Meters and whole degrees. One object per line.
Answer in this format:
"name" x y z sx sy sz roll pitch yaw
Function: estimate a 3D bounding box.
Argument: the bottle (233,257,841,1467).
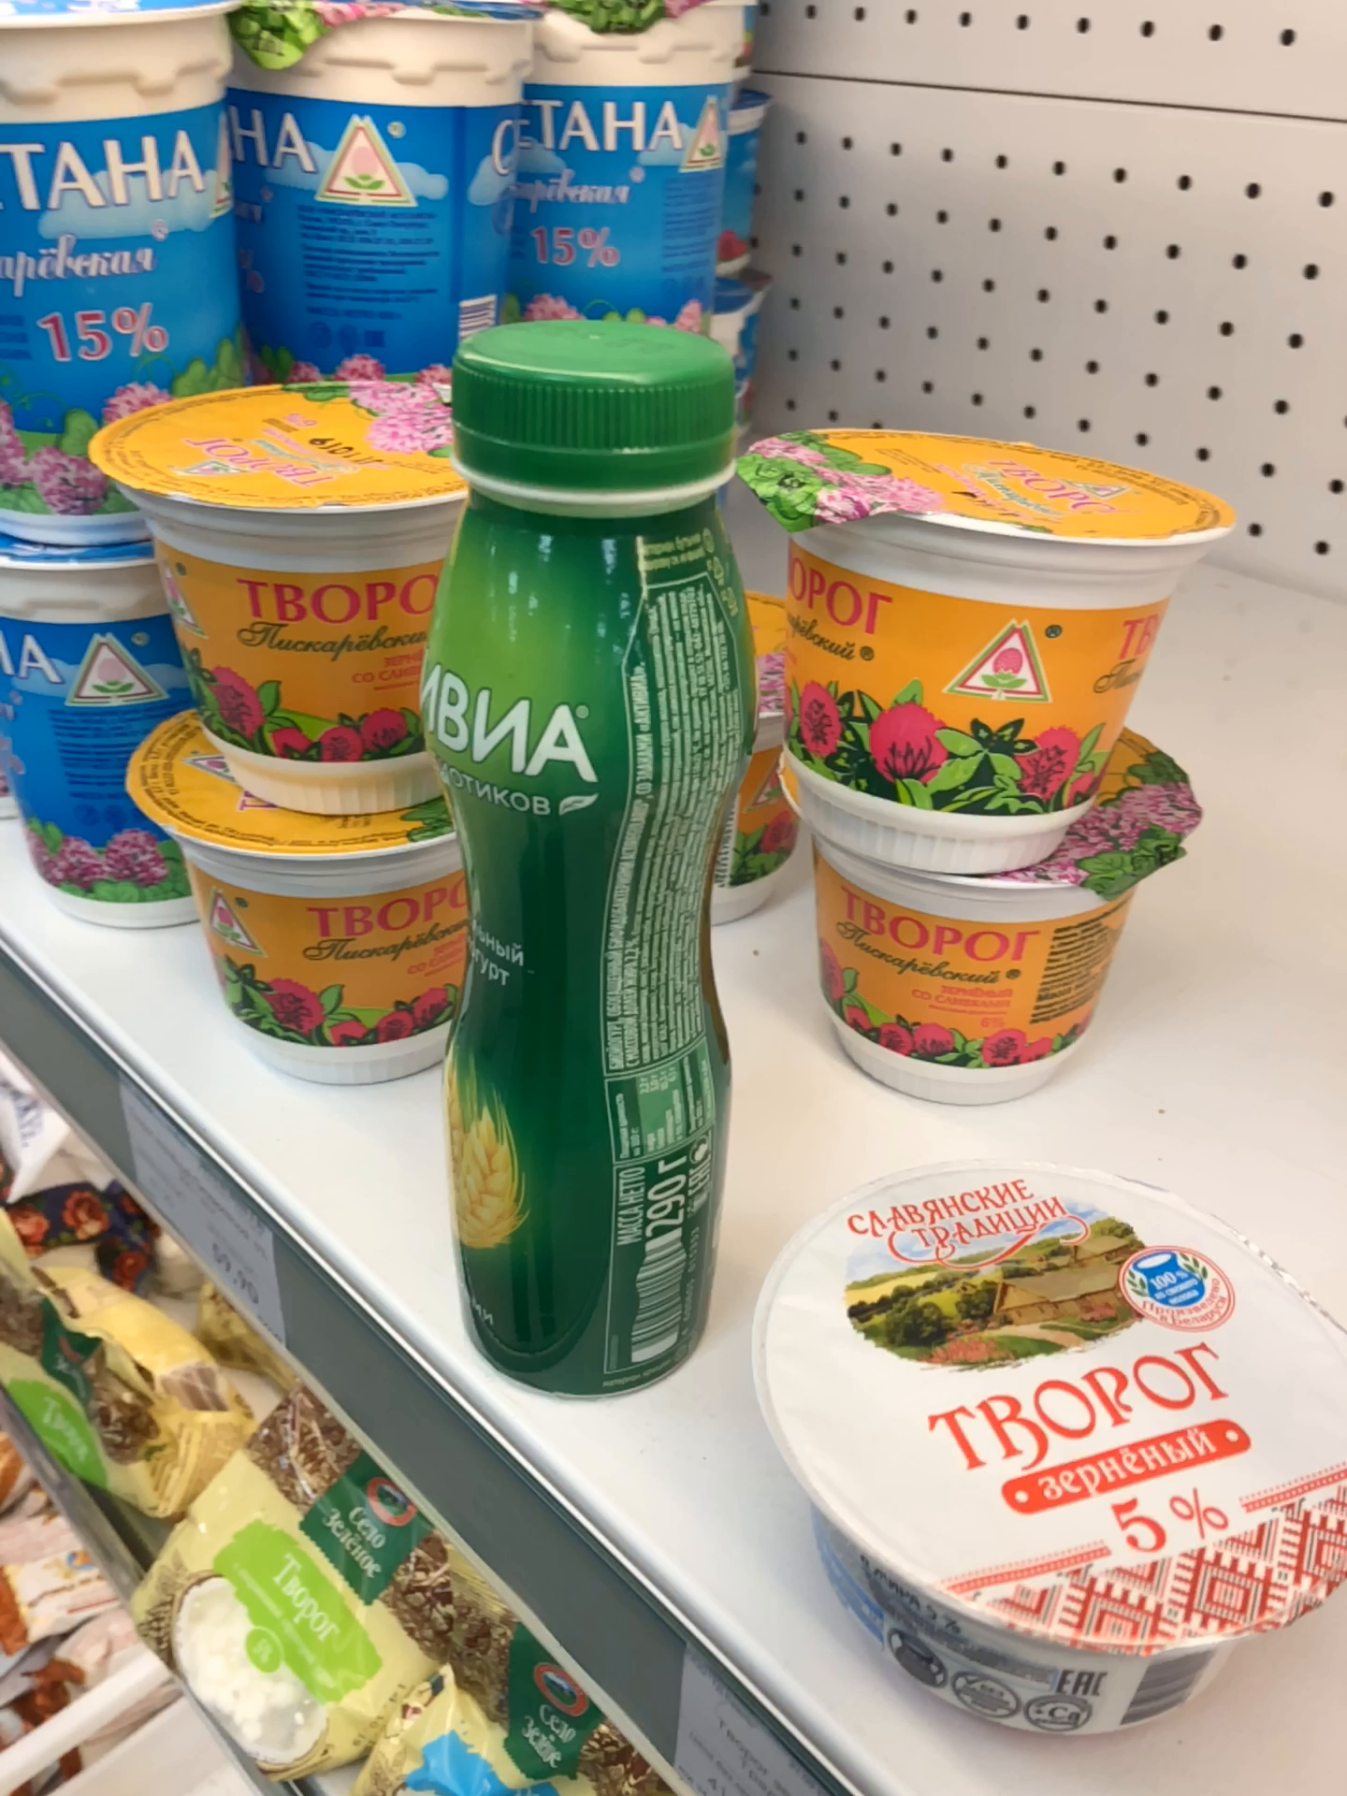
"bottle" -0.022 -0.002 0.252 0.060 0.183 0.070 -15 35 -23
